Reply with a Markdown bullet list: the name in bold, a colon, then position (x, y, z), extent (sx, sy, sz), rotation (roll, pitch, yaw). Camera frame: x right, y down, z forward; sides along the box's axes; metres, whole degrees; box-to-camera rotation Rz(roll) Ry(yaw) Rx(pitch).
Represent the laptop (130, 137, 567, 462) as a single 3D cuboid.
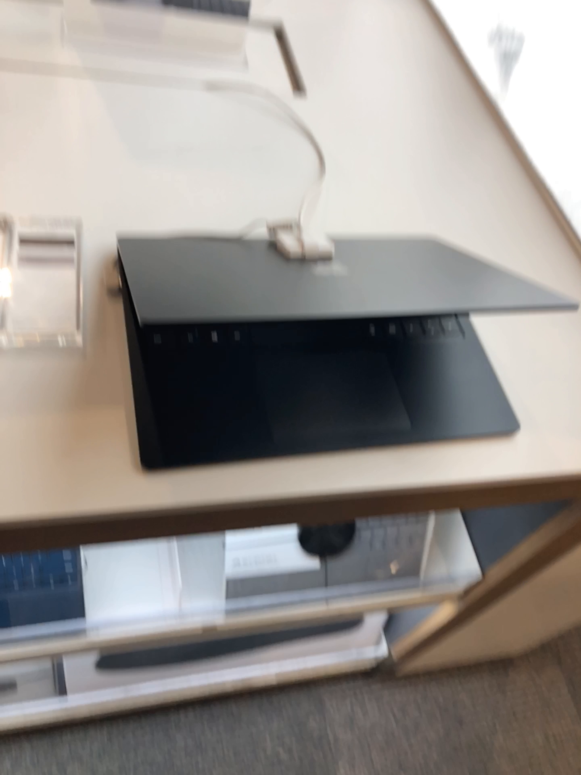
- **laptop**: position (0.034, -0.073, 0.479), extent (0.284, 0.086, 0.191), rotation (-5, 63, -18)
